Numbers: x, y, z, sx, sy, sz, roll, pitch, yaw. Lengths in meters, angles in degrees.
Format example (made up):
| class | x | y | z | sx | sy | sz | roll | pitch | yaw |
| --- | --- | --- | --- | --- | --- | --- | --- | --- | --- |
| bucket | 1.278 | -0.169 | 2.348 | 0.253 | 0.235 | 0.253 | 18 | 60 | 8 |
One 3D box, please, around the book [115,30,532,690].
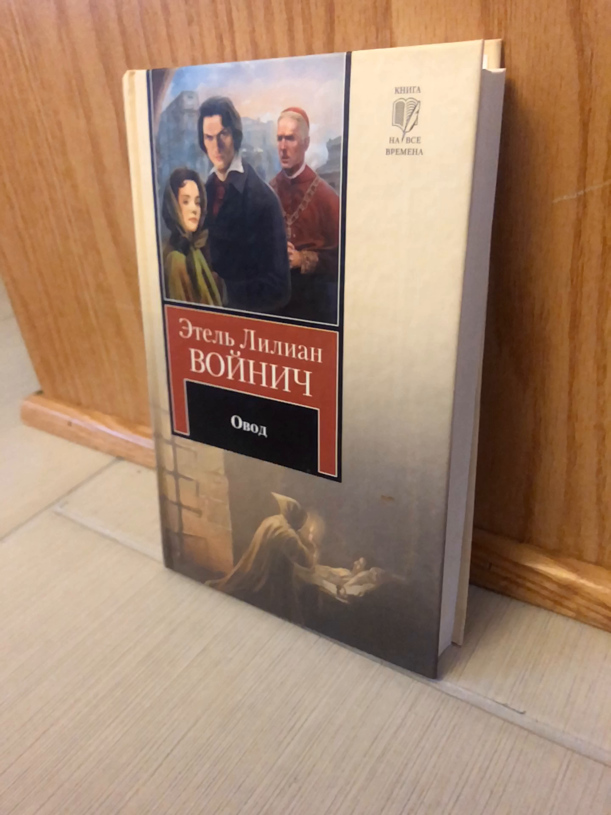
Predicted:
| class | x | y | z | sx | sy | sz | roll | pitch | yaw |
| --- | --- | --- | --- | --- | --- | --- | --- | --- | --- |
| book | -0.001 | -0.016 | 0.252 | 0.139 | 0.203 | 0.030 | 13 | 23 | 32 |
